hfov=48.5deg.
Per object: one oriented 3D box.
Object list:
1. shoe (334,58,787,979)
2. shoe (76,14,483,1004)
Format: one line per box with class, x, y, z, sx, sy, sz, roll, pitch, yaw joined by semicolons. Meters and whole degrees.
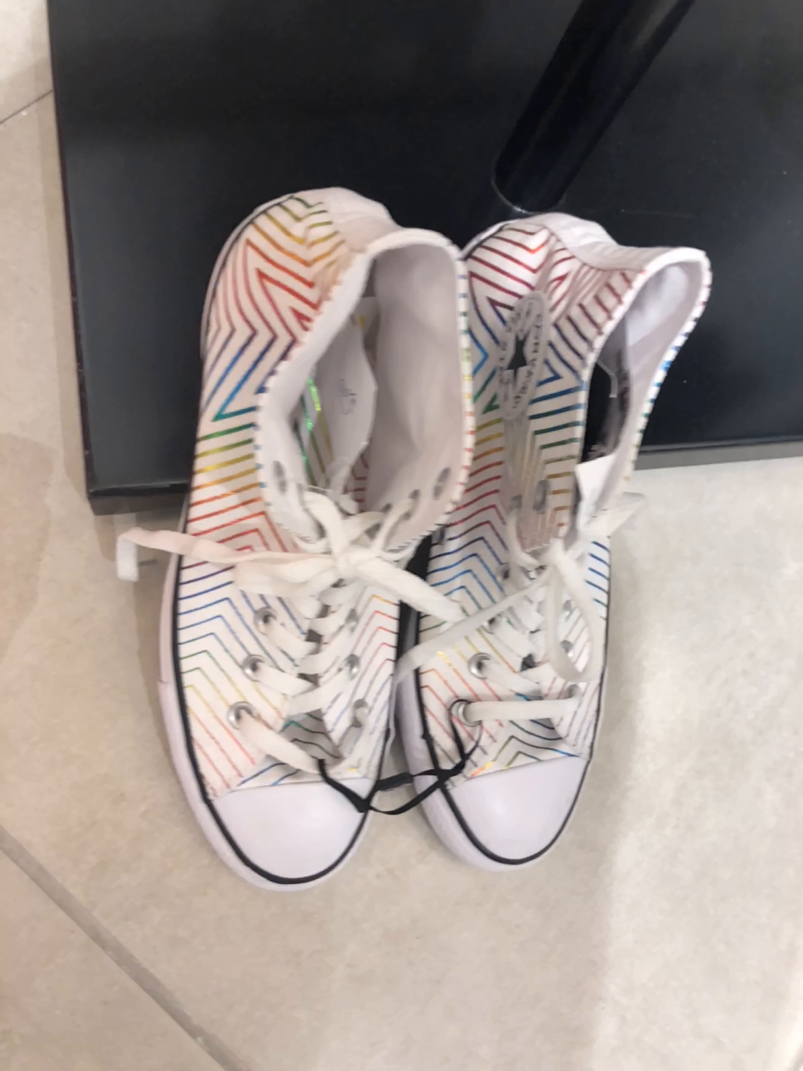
shoe;0.052;-0.008;0.373;0.120;0.140;0.300;-3;87;-15
shoe;-0.051;-0.009;0.353;0.120;0.140;0.300;-3;94;-15
